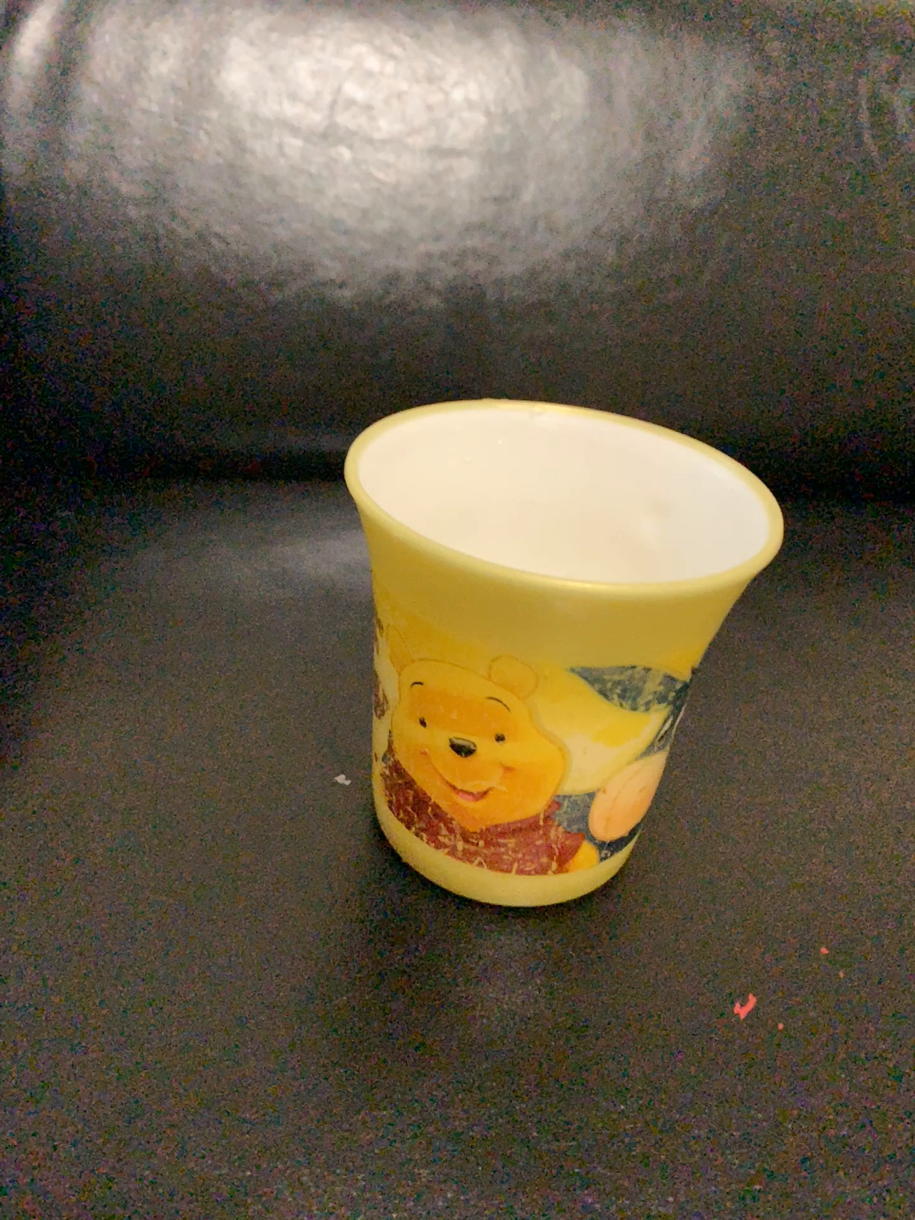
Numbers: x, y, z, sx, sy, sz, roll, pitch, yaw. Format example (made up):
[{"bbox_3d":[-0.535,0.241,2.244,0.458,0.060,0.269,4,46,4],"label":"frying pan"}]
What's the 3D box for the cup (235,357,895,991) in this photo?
[{"bbox_3d":[0.026,0.000,0.224,0.090,0.080,0.120,26,35,32],"label":"cup"}]
